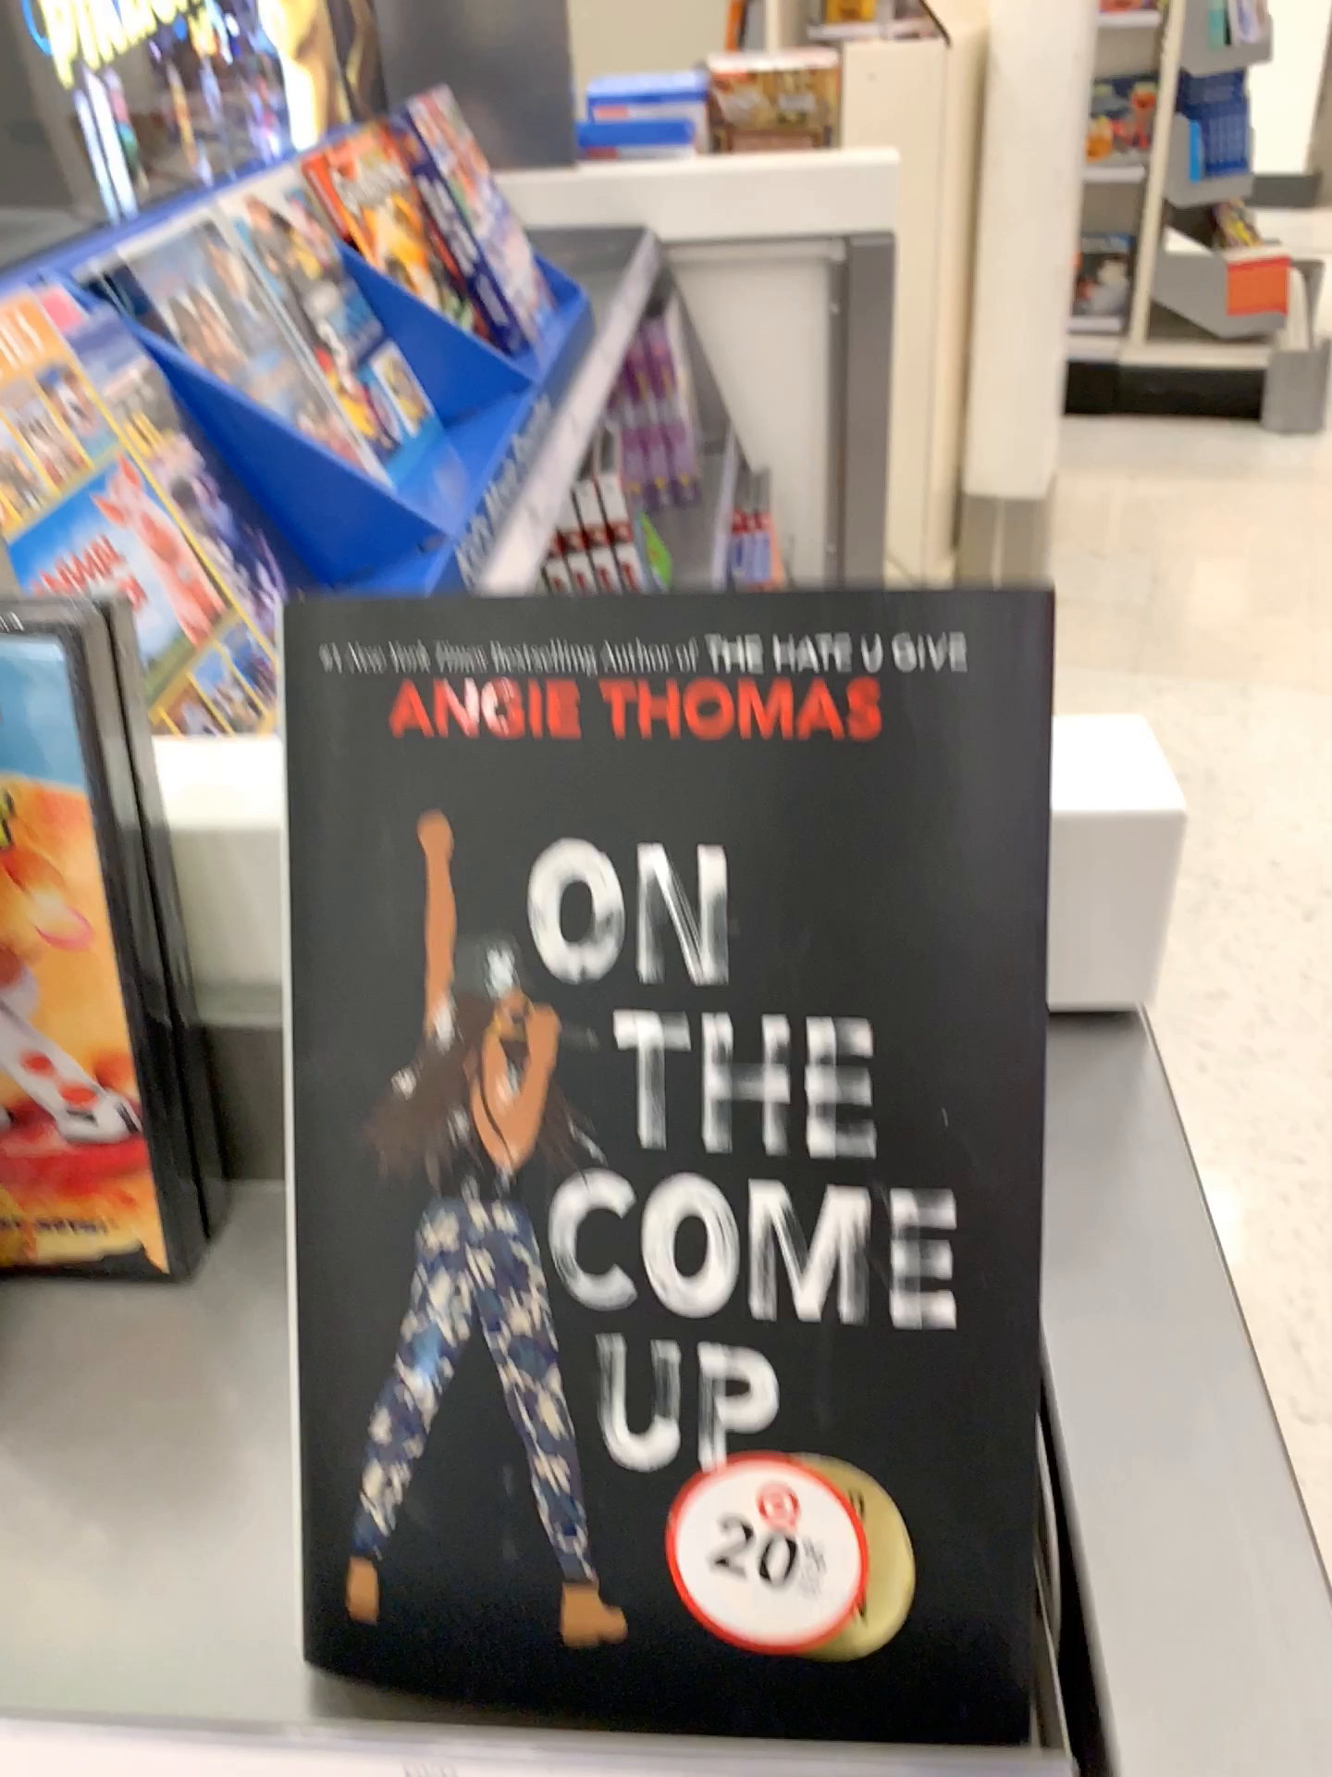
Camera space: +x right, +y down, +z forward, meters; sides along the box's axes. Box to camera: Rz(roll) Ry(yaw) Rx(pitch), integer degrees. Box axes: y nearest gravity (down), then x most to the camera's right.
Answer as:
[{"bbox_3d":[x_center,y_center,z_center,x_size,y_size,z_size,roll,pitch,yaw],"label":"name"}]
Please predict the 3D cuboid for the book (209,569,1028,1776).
[{"bbox_3d":[-0.008,0.052,0.284,0.149,0.222,0.056,1,5,7],"label":"book"}]
